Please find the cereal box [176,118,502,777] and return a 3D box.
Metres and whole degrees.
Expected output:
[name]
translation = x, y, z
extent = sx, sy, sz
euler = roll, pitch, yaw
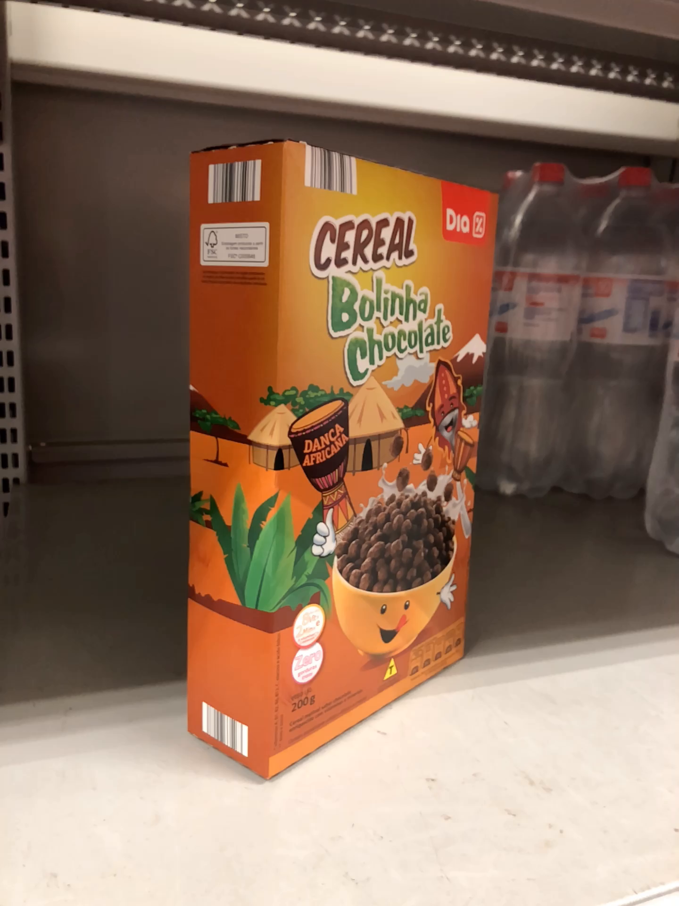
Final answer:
[cereal box]
translation = 0.006, -0.008, 0.378
extent = 0.060, 0.259, 0.170
euler = 9, 12, 38
